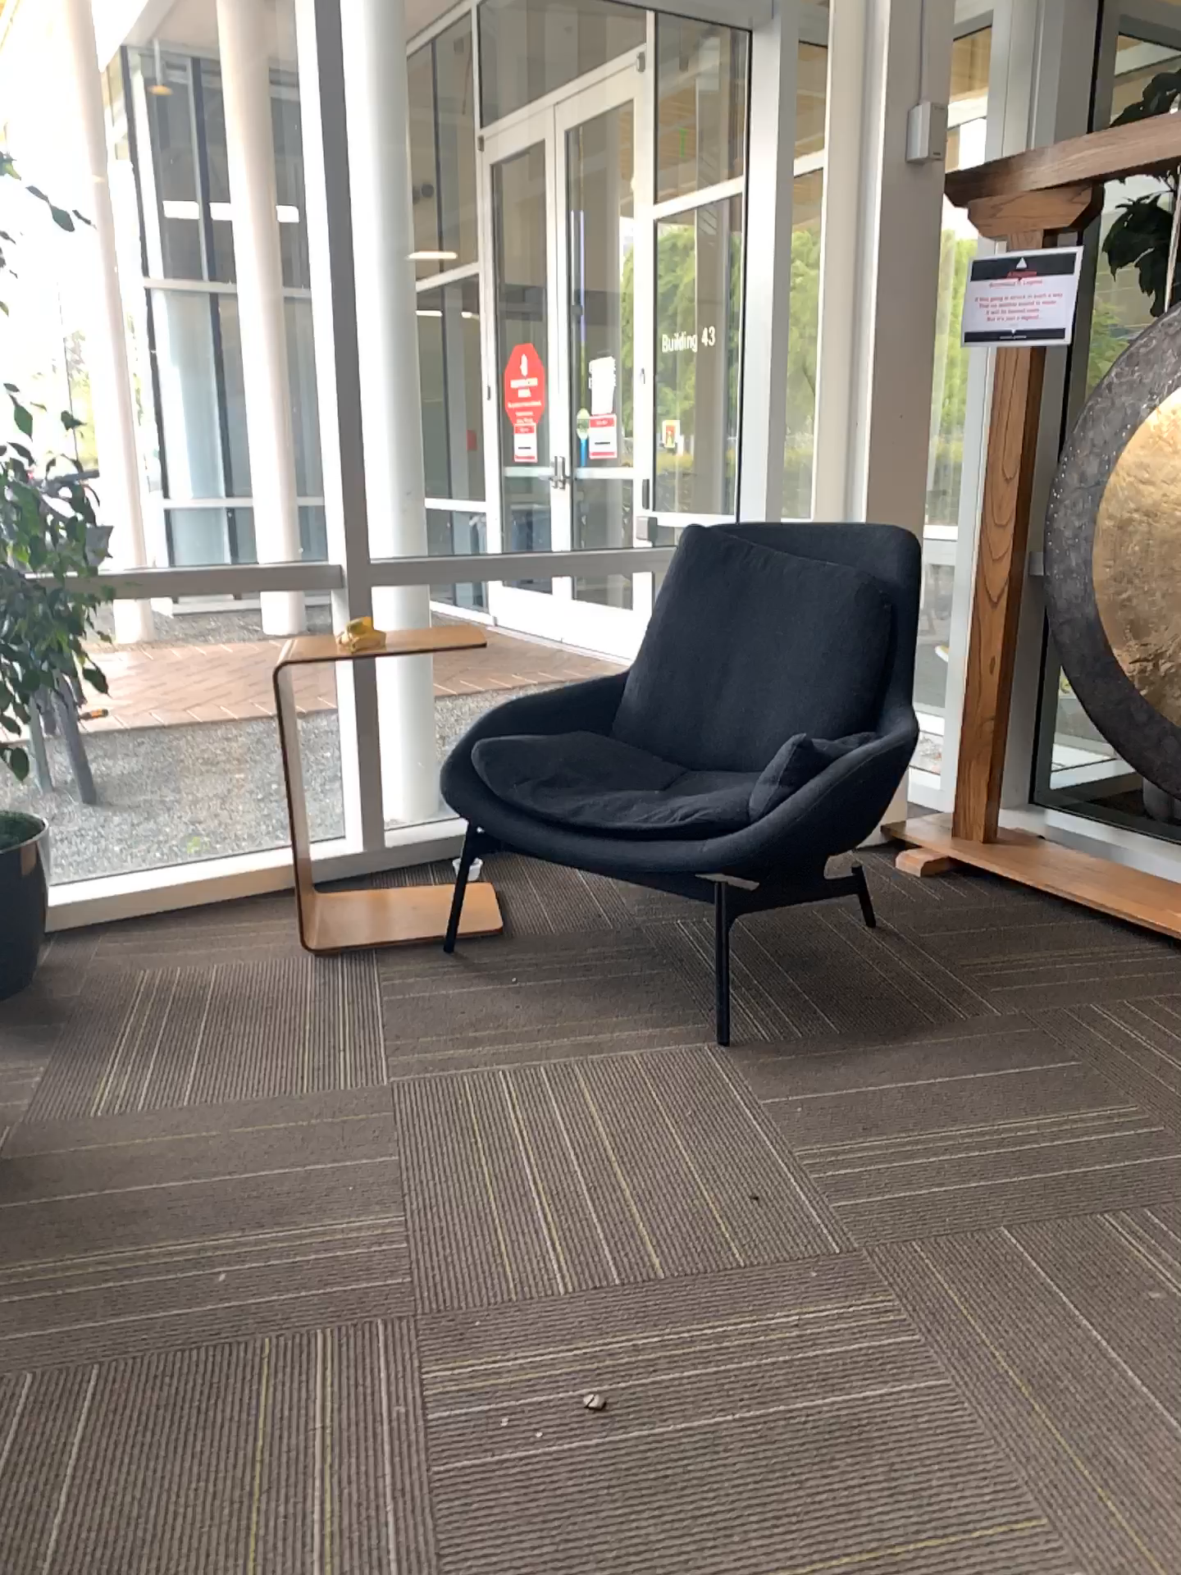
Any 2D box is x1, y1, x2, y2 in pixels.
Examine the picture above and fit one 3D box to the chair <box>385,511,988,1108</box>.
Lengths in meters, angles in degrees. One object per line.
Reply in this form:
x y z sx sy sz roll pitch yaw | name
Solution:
0.230 -0.077 2.647 0.902 0.996 0.941 10 18 36 | chair
